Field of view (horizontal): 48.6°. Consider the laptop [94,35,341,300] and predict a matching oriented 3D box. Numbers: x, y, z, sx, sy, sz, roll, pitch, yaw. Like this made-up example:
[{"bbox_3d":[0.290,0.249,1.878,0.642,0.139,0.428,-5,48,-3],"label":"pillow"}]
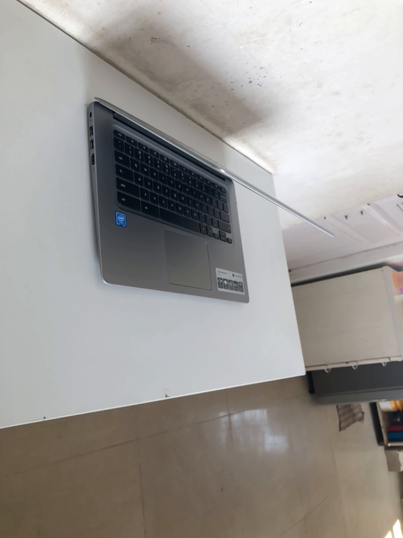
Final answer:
[{"bbox_3d":[0.040,-0.093,0.603,0.327,0.155,0.221,13,66,-55],"label":"laptop"}]
